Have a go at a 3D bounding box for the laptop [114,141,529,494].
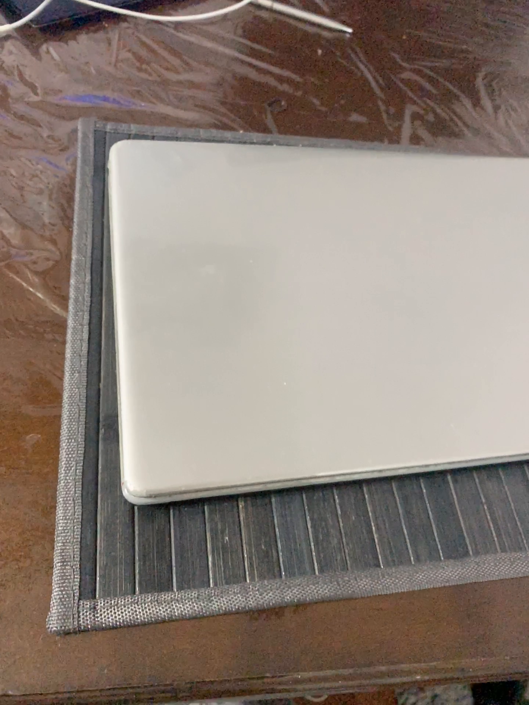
[{"bbox_3d":[0.085,-0.042,0.341,0.335,0.002,0.224,-2,61,-16],"label":"laptop"}]
